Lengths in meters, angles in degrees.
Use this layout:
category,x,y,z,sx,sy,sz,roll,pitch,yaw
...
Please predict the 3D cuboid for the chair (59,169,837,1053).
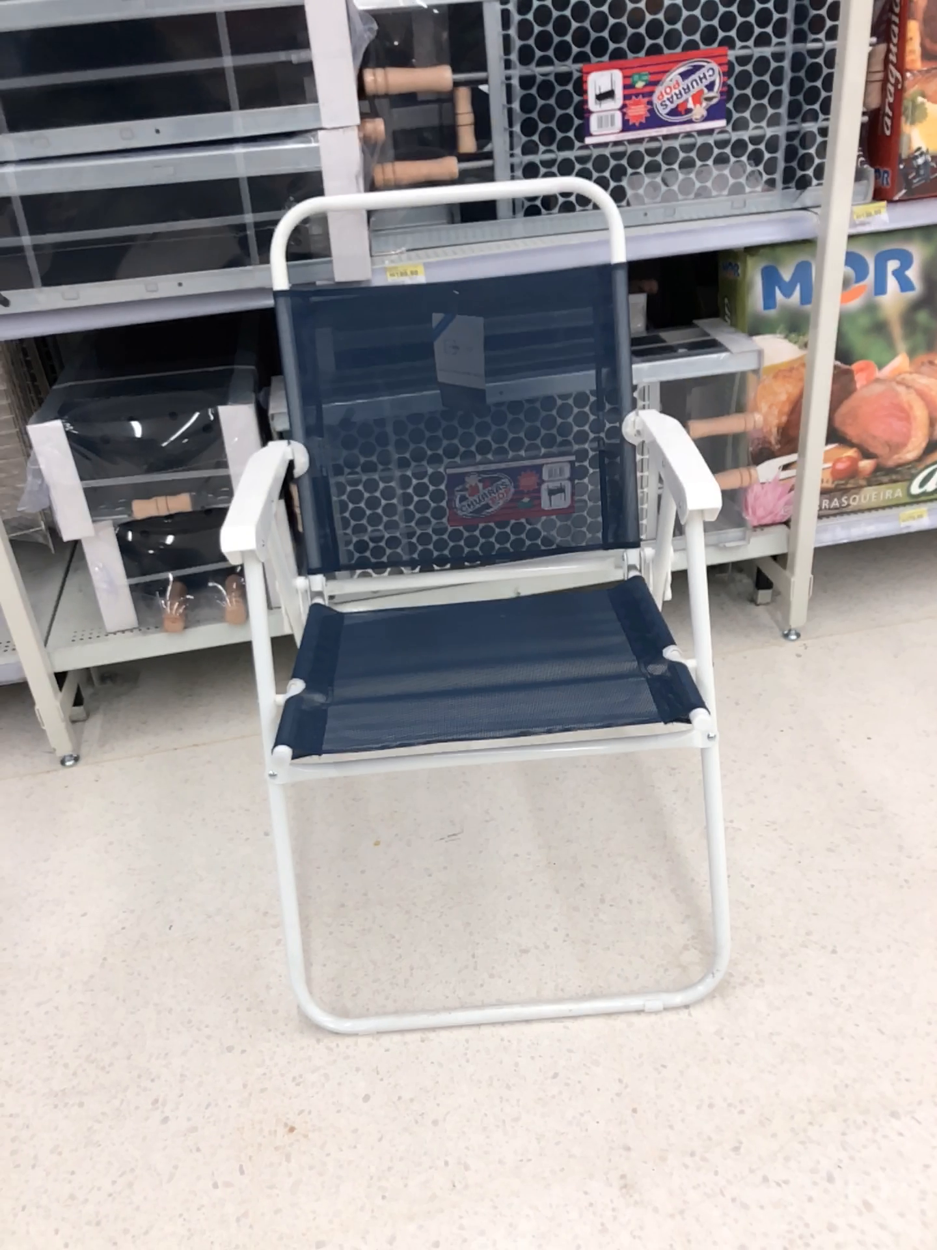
category,x,y,z,sx,sy,sz,roll,pitch,yaw
chair,-0.002,-0.053,1.182,0.540,0.735,0.655,-5,32,0
